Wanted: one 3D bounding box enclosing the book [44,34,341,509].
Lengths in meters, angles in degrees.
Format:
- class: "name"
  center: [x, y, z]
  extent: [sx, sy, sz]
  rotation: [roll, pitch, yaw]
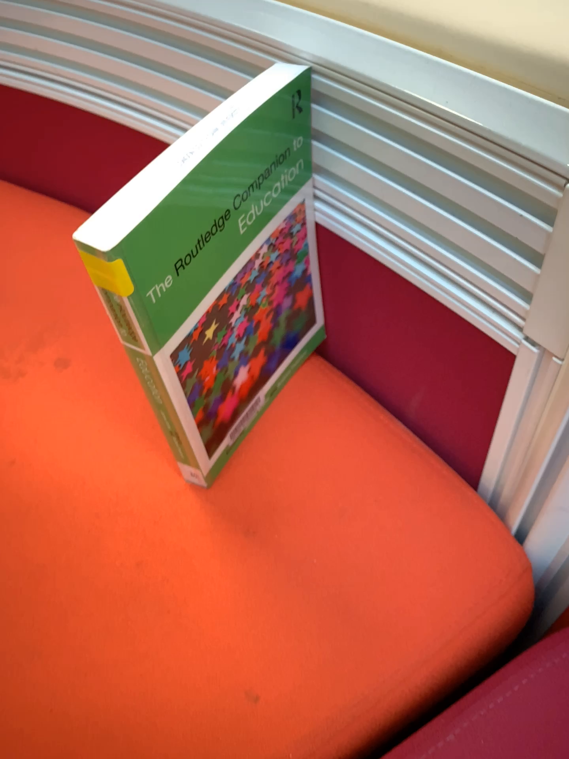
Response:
- class: "book"
  center: [-0.028, -0.054, 0.415]
  extent: [0.040, 0.268, 0.201]
  rotation: [26, 61, 22]
